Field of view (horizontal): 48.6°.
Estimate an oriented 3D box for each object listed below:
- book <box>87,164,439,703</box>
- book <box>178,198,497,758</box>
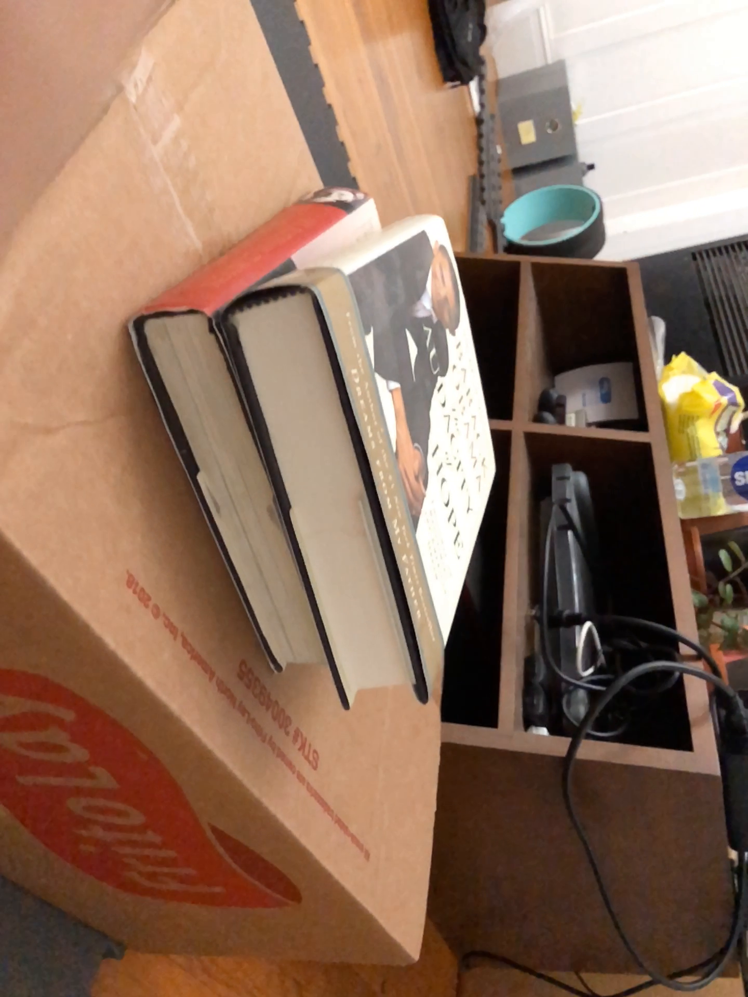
[{"bbox_3d":[-0.026,-0.052,0.407,0.251,0.040,0.170,-67,144,-58],"label":"book"},{"bbox_3d":[0.009,-0.035,0.404,0.251,0.040,0.190,-59,137,-63],"label":"book"}]
